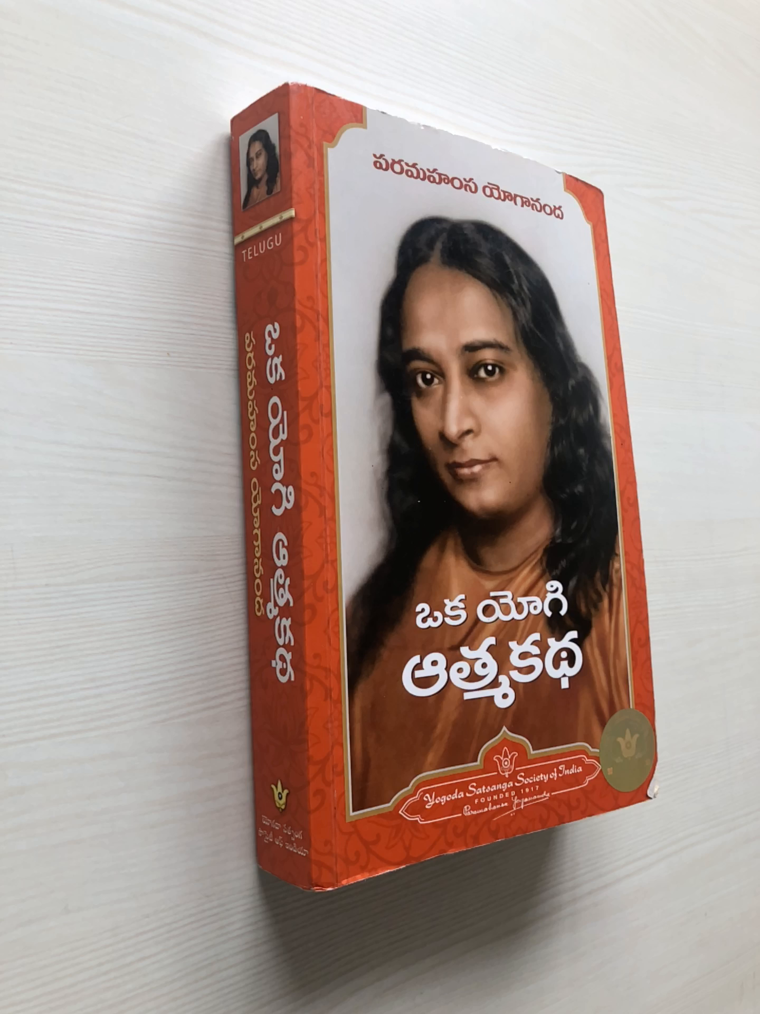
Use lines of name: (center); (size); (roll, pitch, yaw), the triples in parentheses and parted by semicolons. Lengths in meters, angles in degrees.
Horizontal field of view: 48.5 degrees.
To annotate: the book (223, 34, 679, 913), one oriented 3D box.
book: (0.029, -0.011, 0.283); (0.151, 0.040, 0.233); (0, 85, -36)
